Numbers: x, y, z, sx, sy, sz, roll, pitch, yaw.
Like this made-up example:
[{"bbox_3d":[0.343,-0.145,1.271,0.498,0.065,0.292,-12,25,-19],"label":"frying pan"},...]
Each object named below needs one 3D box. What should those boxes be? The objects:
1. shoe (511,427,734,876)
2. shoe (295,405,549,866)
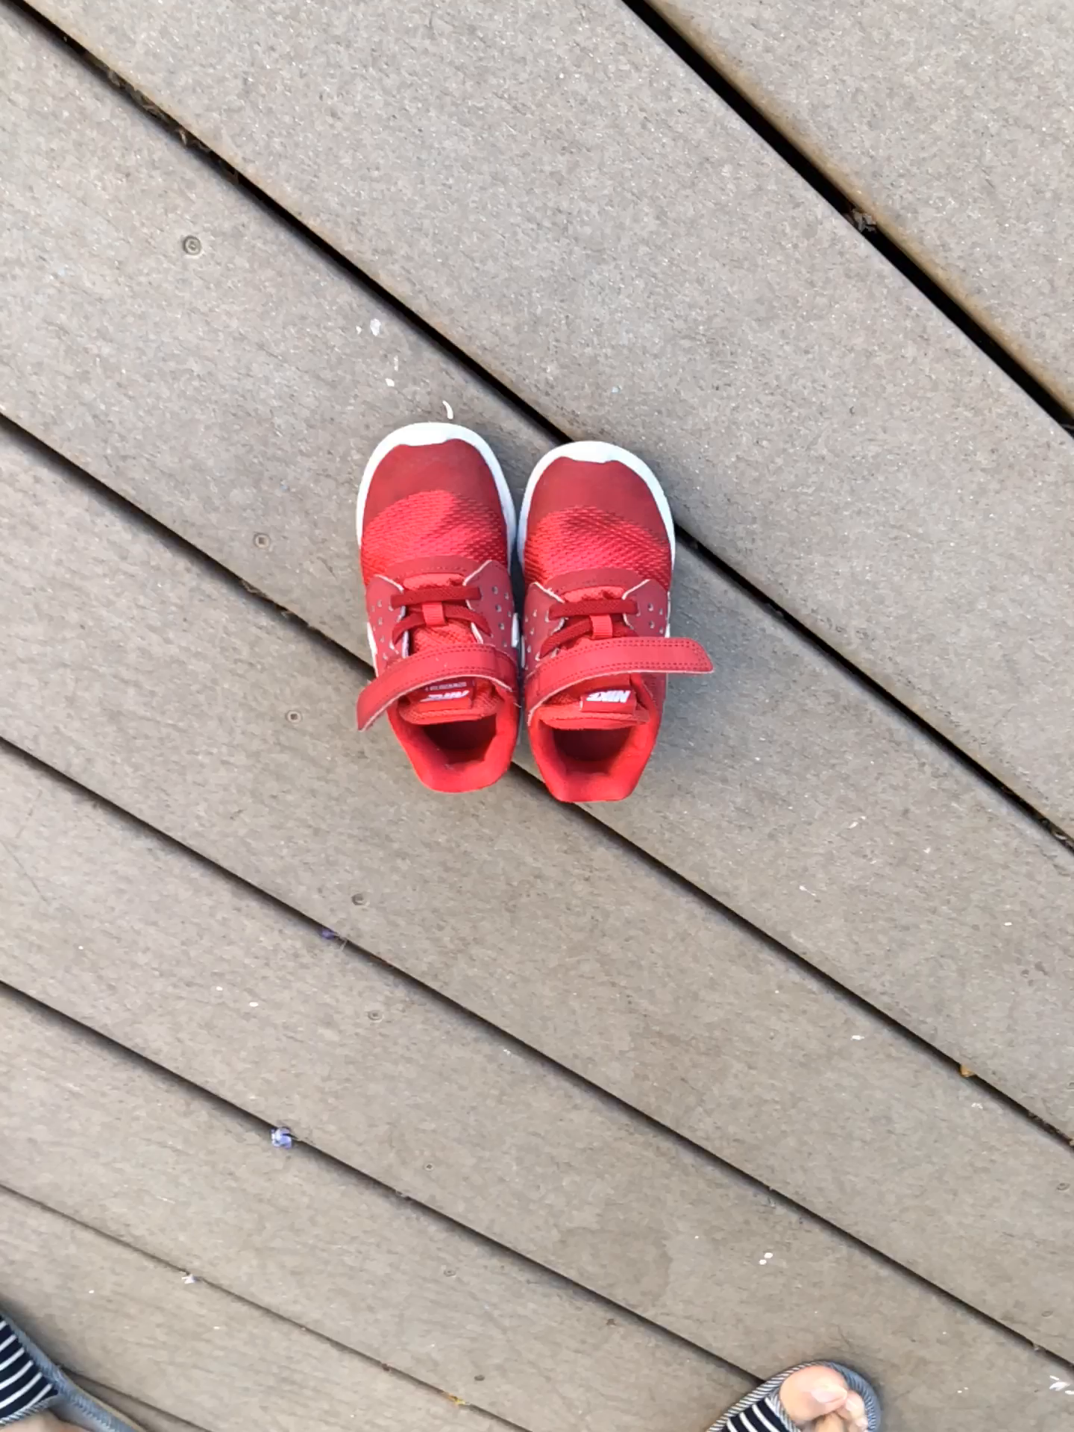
[{"bbox_3d":[0.029,-0.027,0.499,0.077,0.087,0.168,0,118,-2],"label":"shoe"},{"bbox_3d":[-0.042,-0.034,0.501,0.077,0.087,0.168,-5,118,1],"label":"shoe"}]
